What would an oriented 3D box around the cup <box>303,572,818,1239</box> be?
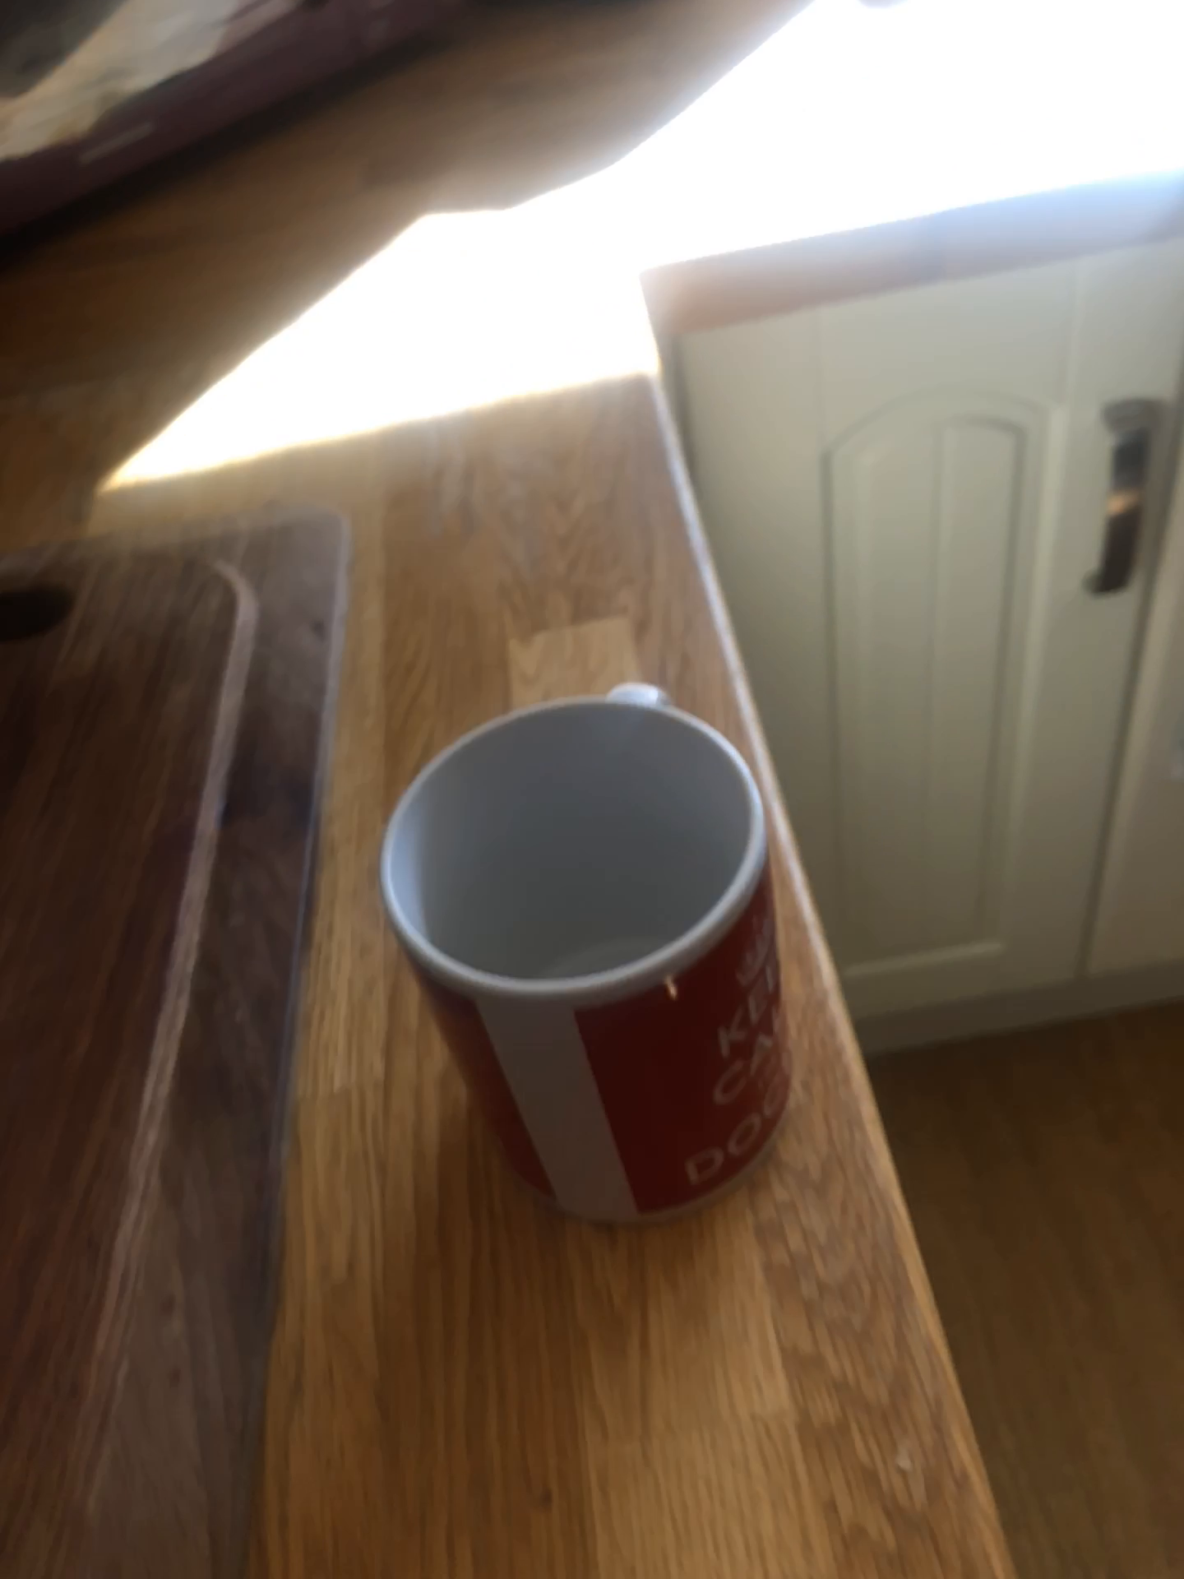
[{"bbox_3d":[0.003,0.028,0.321,0.089,0.094,0.124,-5,46,13],"label":"cup"}]
